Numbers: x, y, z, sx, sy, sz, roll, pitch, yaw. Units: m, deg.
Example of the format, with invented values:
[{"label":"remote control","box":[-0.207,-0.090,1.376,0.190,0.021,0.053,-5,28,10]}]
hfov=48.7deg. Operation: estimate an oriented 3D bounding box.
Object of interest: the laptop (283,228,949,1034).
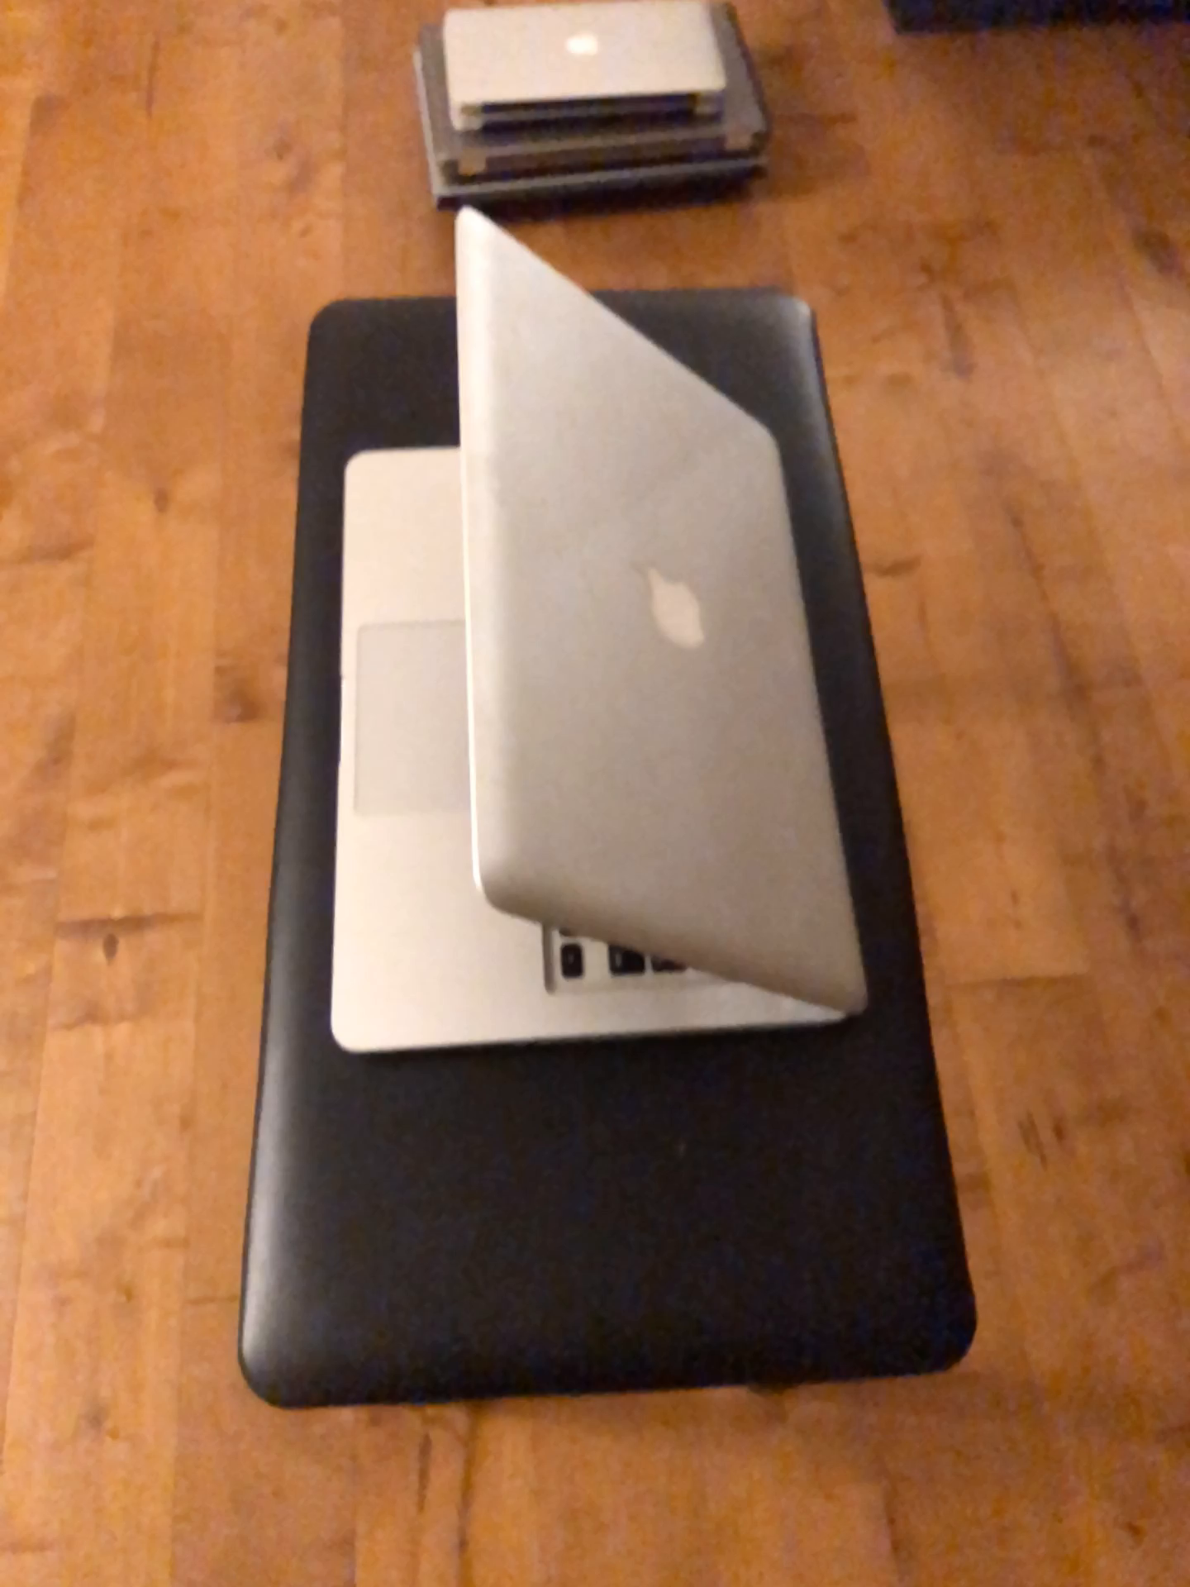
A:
[{"label":"laptop","box":[0.004,-0.074,0.553,0.208,0.144,0.310,-1,60,-1]}]
